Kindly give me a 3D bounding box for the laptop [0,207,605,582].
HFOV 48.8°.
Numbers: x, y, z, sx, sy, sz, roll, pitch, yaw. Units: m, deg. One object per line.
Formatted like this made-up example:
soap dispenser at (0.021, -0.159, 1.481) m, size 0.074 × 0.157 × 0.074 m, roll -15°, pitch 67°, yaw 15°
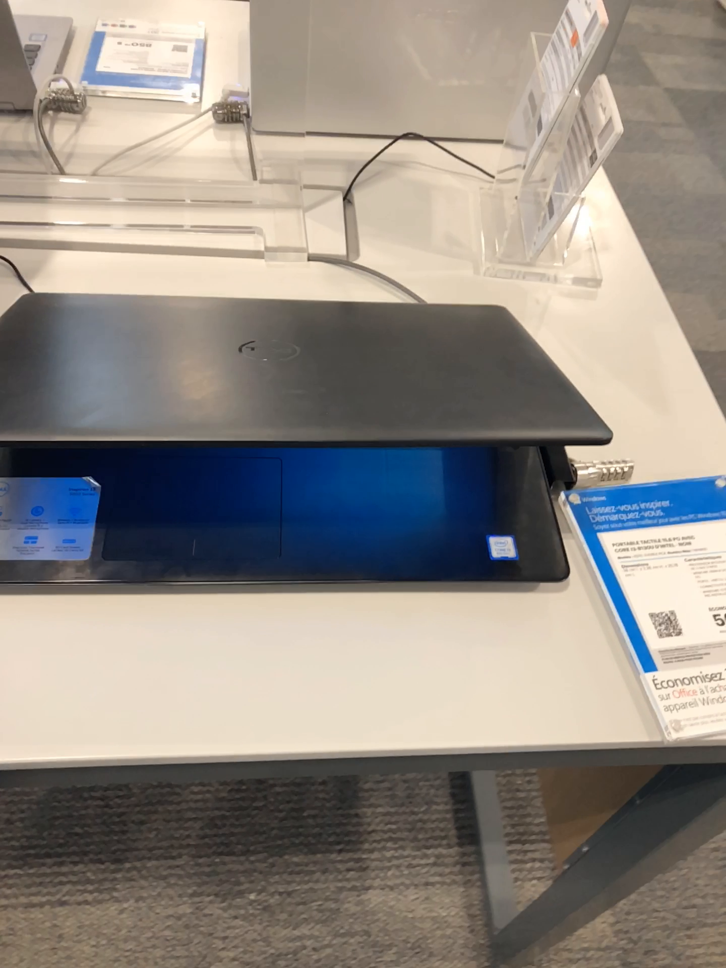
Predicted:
laptop at (-0.059, -0.065, 0.515) m, size 0.365 × 0.080 × 0.245 m, roll 1°, pitch 51°, yaw -7°
